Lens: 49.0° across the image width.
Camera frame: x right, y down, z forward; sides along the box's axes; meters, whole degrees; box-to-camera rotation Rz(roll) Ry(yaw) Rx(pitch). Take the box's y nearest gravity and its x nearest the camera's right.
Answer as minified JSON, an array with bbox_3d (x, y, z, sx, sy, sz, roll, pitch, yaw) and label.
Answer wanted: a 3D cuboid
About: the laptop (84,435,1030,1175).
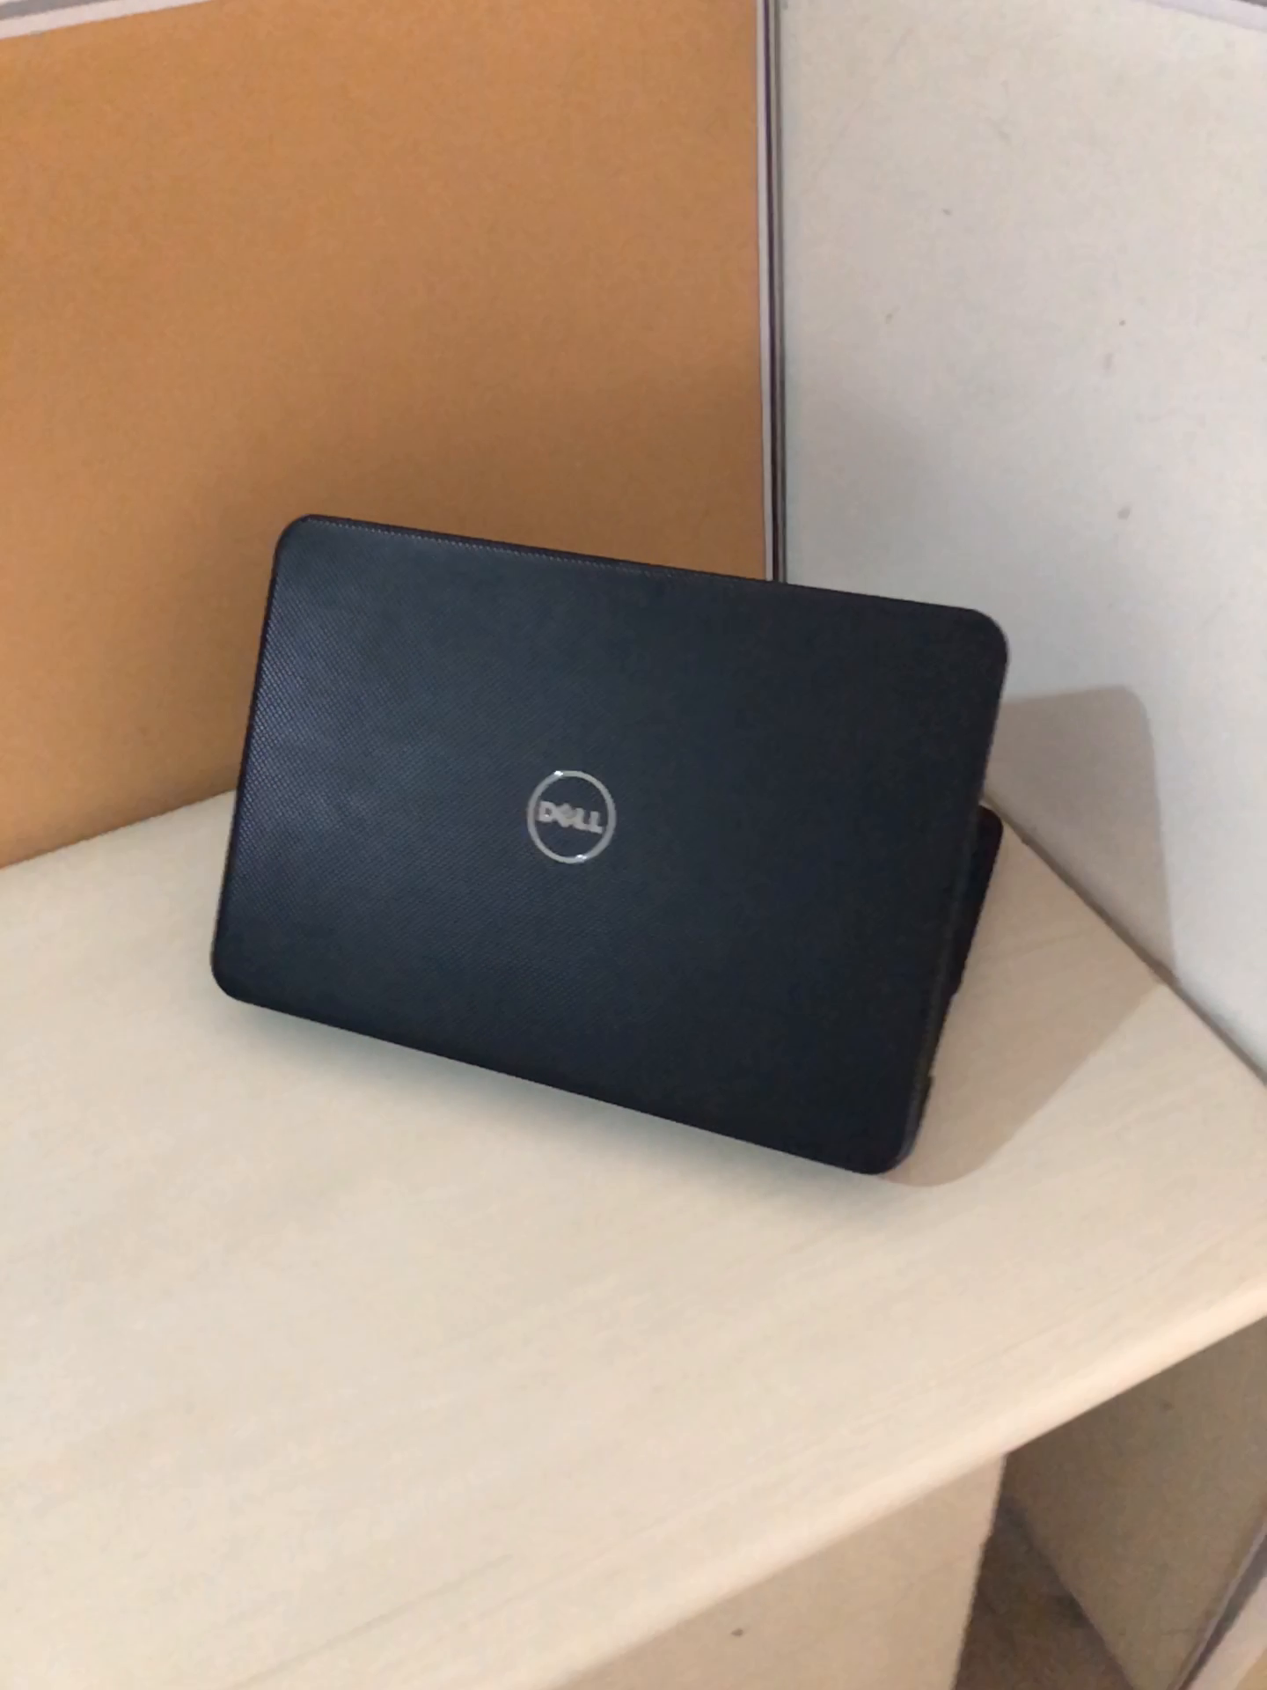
[{"bbox_3d":[-0.014,-0.040,0.685,0.352,0.179,0.256,13,44,17],"label":"laptop"}]
